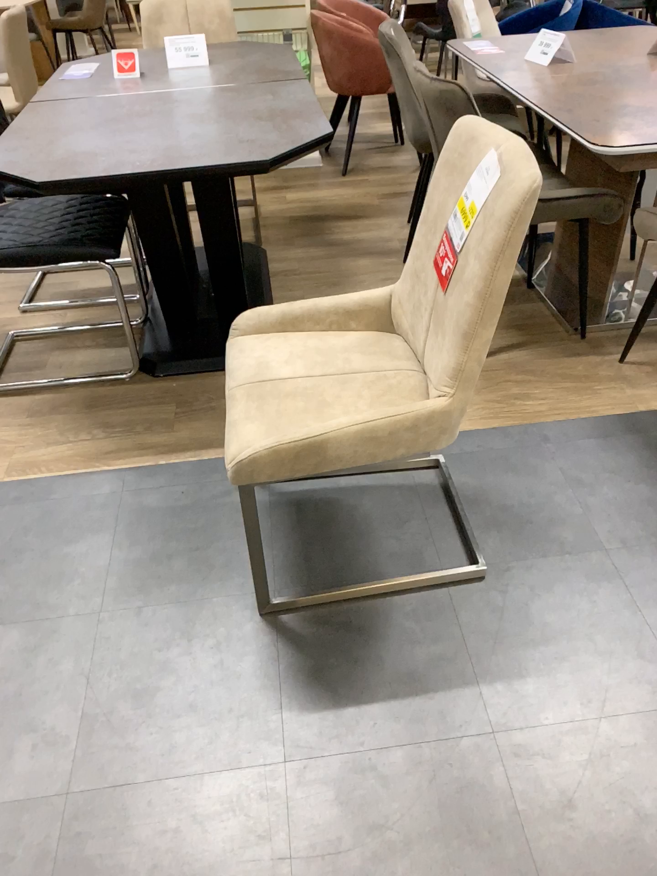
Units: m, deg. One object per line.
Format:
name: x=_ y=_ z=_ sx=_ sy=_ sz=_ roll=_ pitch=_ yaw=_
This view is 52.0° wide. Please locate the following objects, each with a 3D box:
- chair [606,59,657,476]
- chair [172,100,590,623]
chair: x=1.182 y=-0.446 z=1.762 sx=0.480 sy=0.842 sz=0.627 roll=-6 pitch=38 yaw=-3
chair: x=0.067 y=-0.139 z=1.398 sx=0.583 sy=0.887 sz=0.512 roll=-6 pitch=38 yaw=-4
